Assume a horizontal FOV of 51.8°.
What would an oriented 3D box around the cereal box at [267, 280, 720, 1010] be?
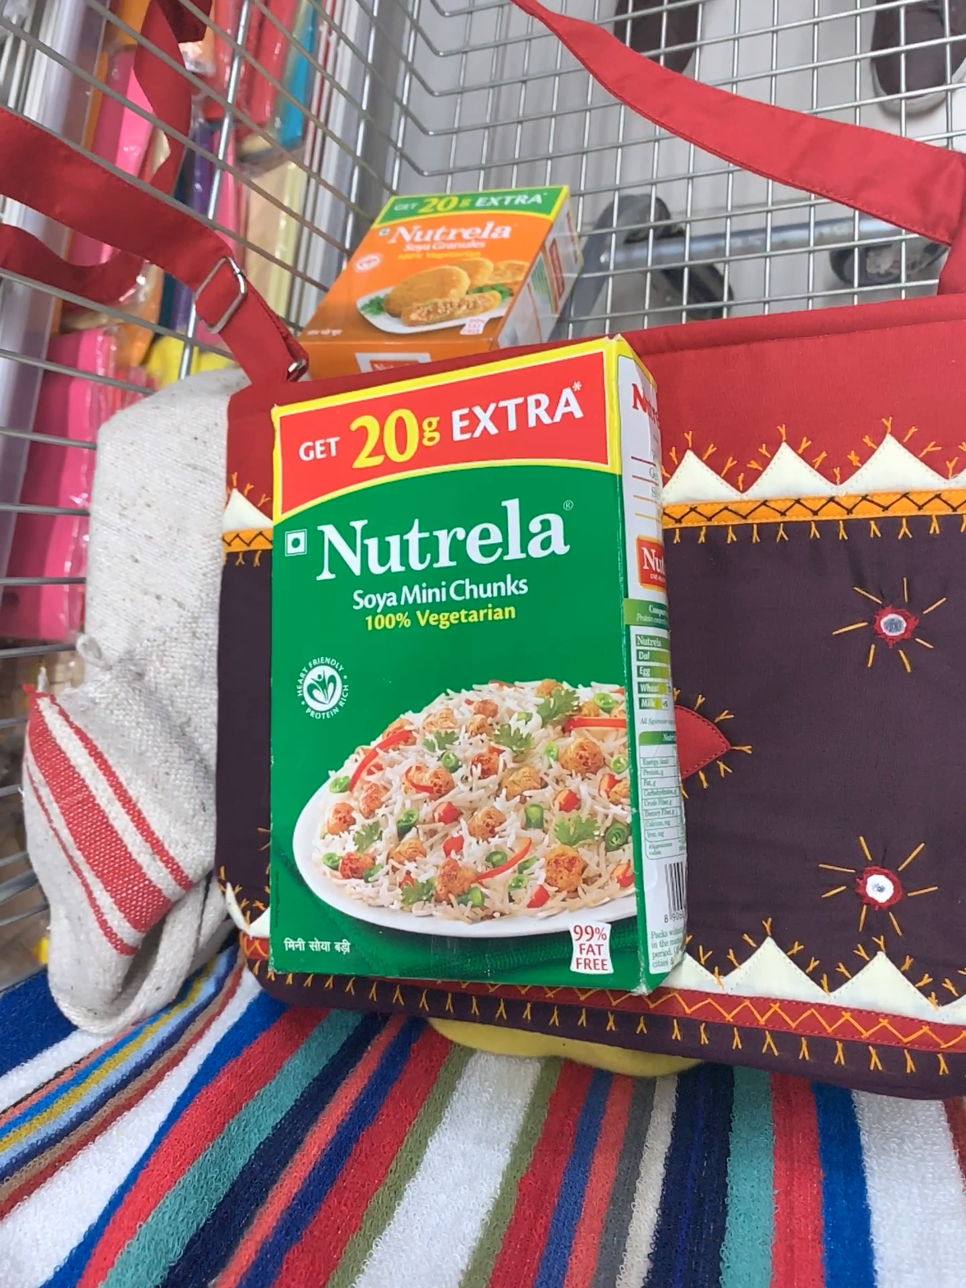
[{"bbox_3d":[0.000,0.004,0.303,0.120,0.050,0.190,-6,81,23],"label":"cereal box"}]
